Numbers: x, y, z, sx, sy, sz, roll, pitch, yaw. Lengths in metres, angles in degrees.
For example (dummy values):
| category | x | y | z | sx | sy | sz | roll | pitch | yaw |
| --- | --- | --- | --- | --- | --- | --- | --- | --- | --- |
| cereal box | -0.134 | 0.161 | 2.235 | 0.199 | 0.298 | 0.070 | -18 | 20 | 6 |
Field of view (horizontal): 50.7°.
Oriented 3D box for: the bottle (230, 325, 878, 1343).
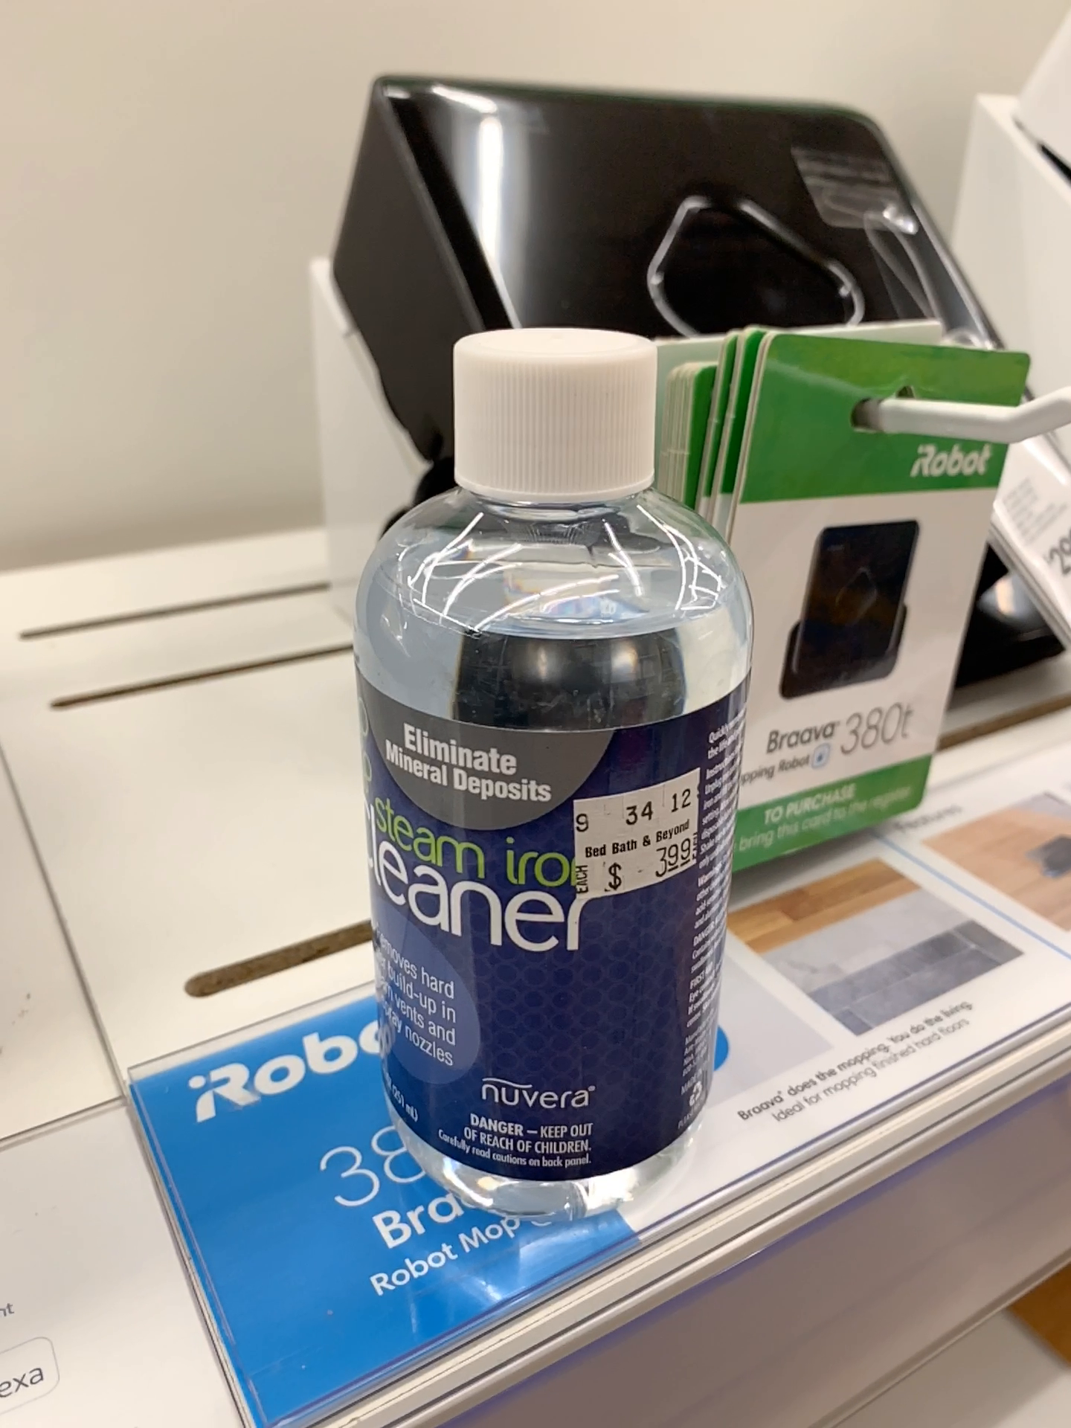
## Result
| category | x | y | z | sx | sy | sz | roll | pitch | yaw |
| --- | --- | --- | --- | --- | --- | --- | --- | --- | --- |
| bottle | 0.002 | 0.014 | 0.173 | 0.060 | 0.129 | 0.060 | 2 | 26 | -1 |
